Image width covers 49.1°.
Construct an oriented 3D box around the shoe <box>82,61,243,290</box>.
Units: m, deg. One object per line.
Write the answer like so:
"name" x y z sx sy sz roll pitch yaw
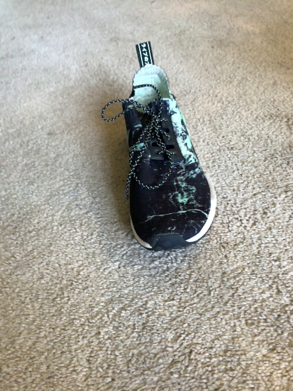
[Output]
"shoe" 0.005 -0.048 0.395 0.131 0.100 0.288 -7 46 0
